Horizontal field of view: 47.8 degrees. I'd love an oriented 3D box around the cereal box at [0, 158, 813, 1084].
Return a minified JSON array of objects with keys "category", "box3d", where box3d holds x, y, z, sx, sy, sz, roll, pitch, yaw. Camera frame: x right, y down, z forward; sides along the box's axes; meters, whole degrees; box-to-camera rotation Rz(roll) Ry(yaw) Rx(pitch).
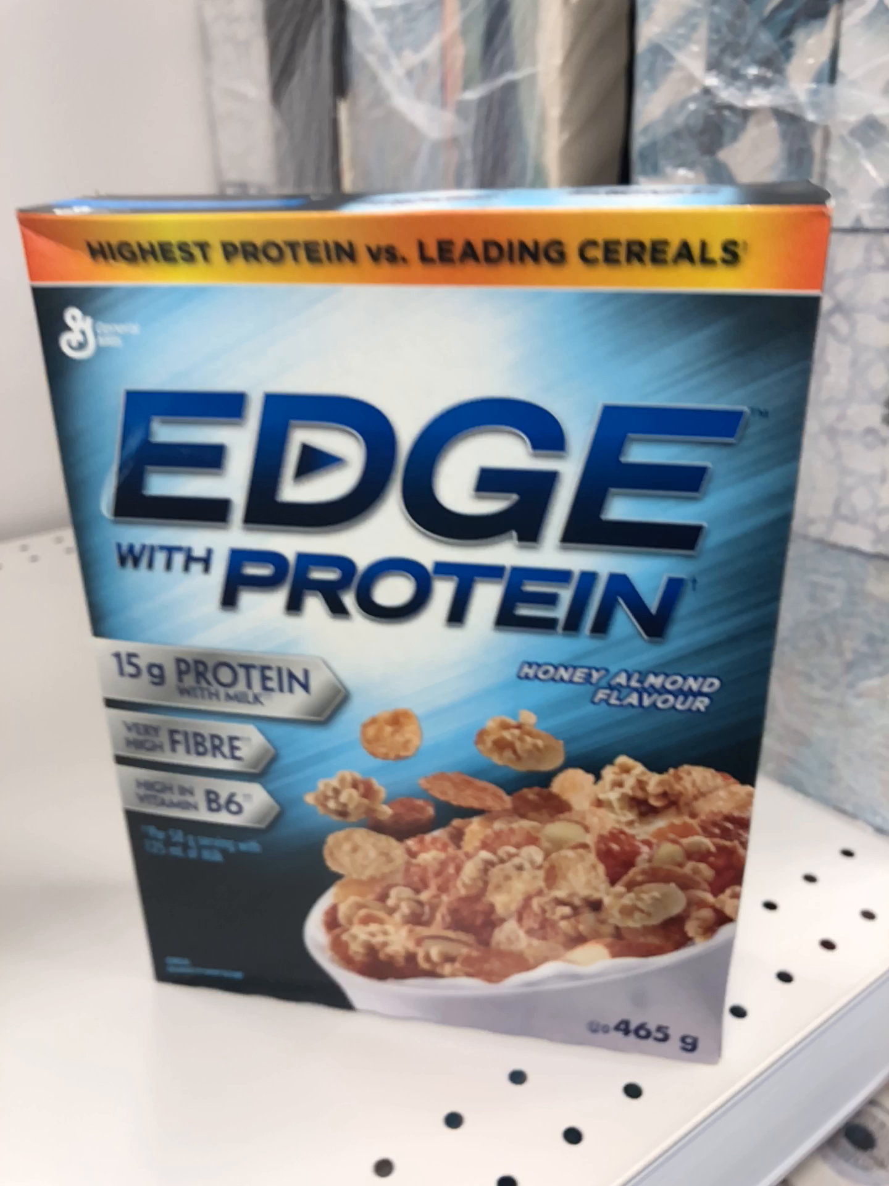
[{"category":"cereal box","box3d":[-0.011,0.019,0.313,0.200,0.279,0.050,3,25,10]}]
